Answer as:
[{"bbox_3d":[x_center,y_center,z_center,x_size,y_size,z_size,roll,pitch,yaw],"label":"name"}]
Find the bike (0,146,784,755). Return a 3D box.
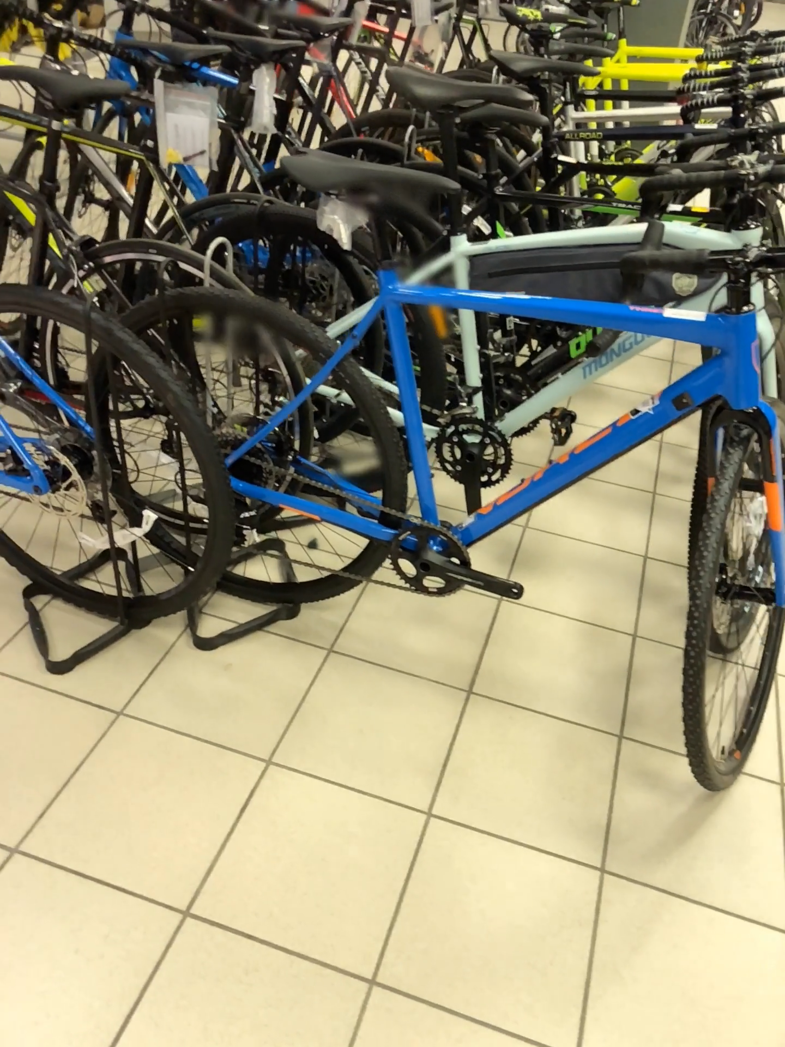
[{"bbox_3d":[0.128,-0.126,1.777,1.469,0.806,0.527,12,36,-1],"label":"bike"}]

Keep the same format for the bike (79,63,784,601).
[{"bbox_3d":[0.235,-0.435,1.979,1.421,0.870,0.619,9,36,1],"label":"bike"}]
